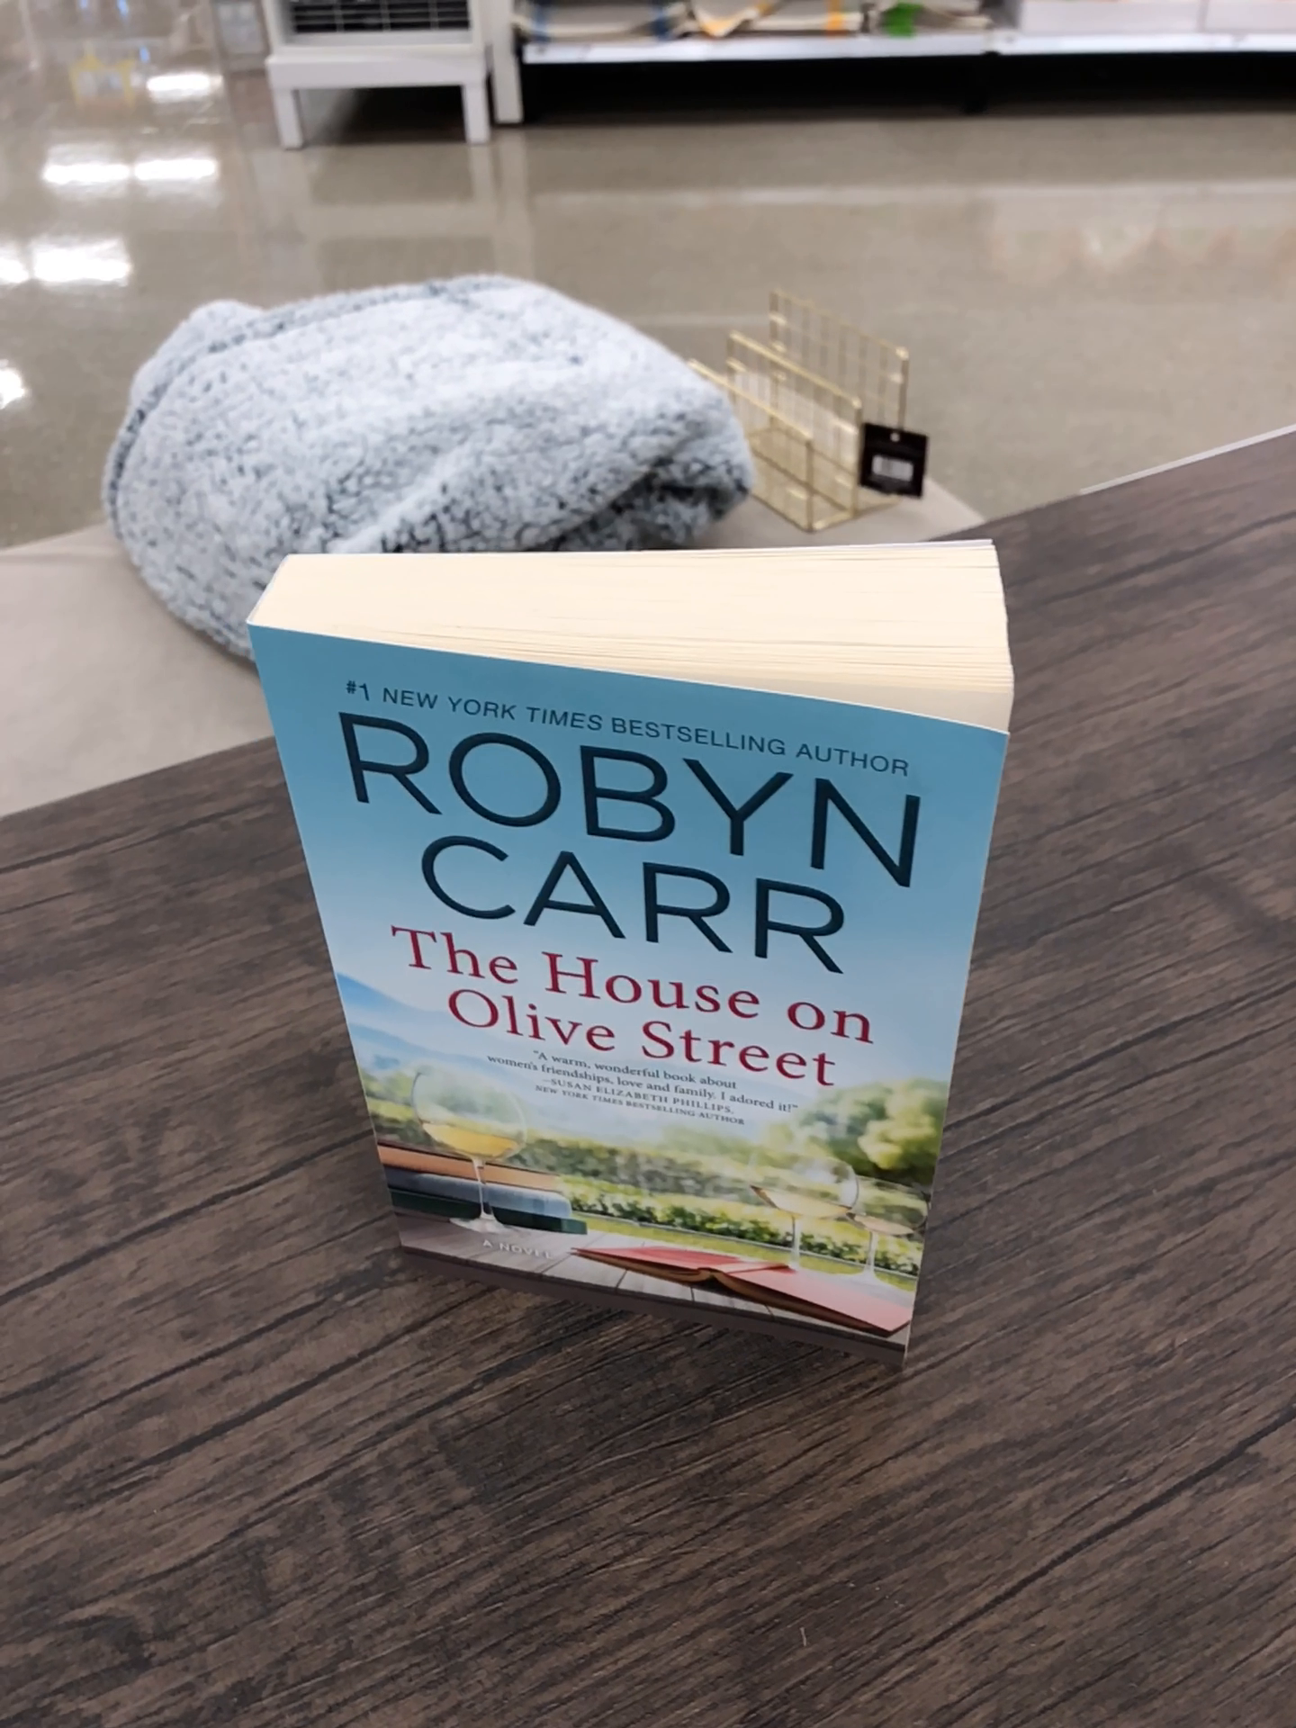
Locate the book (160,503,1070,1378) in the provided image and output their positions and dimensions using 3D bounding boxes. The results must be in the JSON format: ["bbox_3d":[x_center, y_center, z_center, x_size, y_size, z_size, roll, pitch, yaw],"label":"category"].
[{"bbox_3d":[-0.001,0.027,0.311,0.146,0.195,0.050,5,42,9],"label":"book"}]
